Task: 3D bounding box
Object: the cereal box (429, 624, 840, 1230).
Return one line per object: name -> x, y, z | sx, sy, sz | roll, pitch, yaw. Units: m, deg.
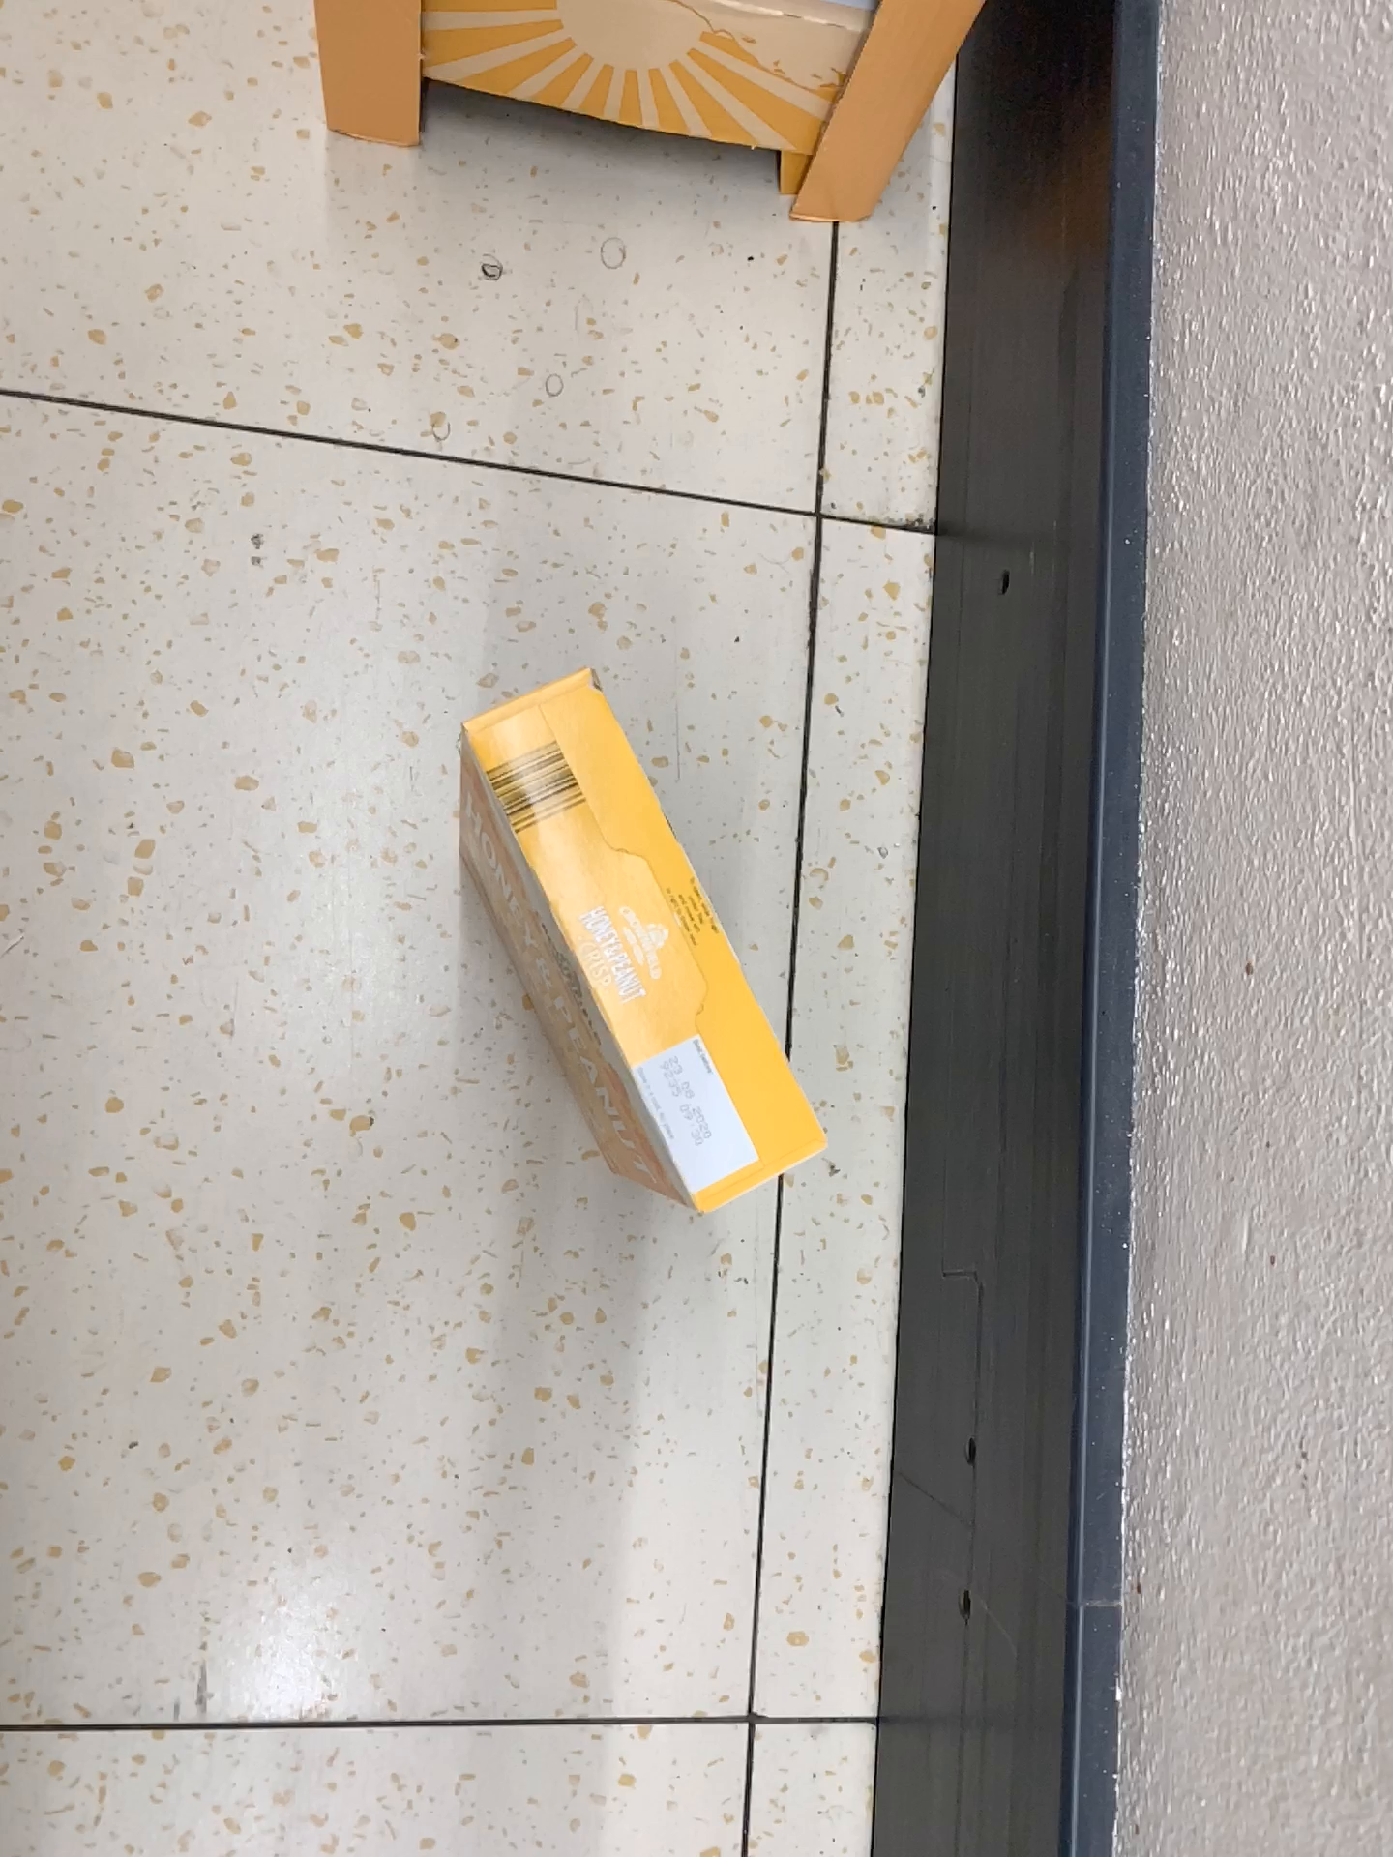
cereal box -> -0.042, 0.012, 0.580 | 0.050, 0.270, 0.190 | -27, 89, -11
